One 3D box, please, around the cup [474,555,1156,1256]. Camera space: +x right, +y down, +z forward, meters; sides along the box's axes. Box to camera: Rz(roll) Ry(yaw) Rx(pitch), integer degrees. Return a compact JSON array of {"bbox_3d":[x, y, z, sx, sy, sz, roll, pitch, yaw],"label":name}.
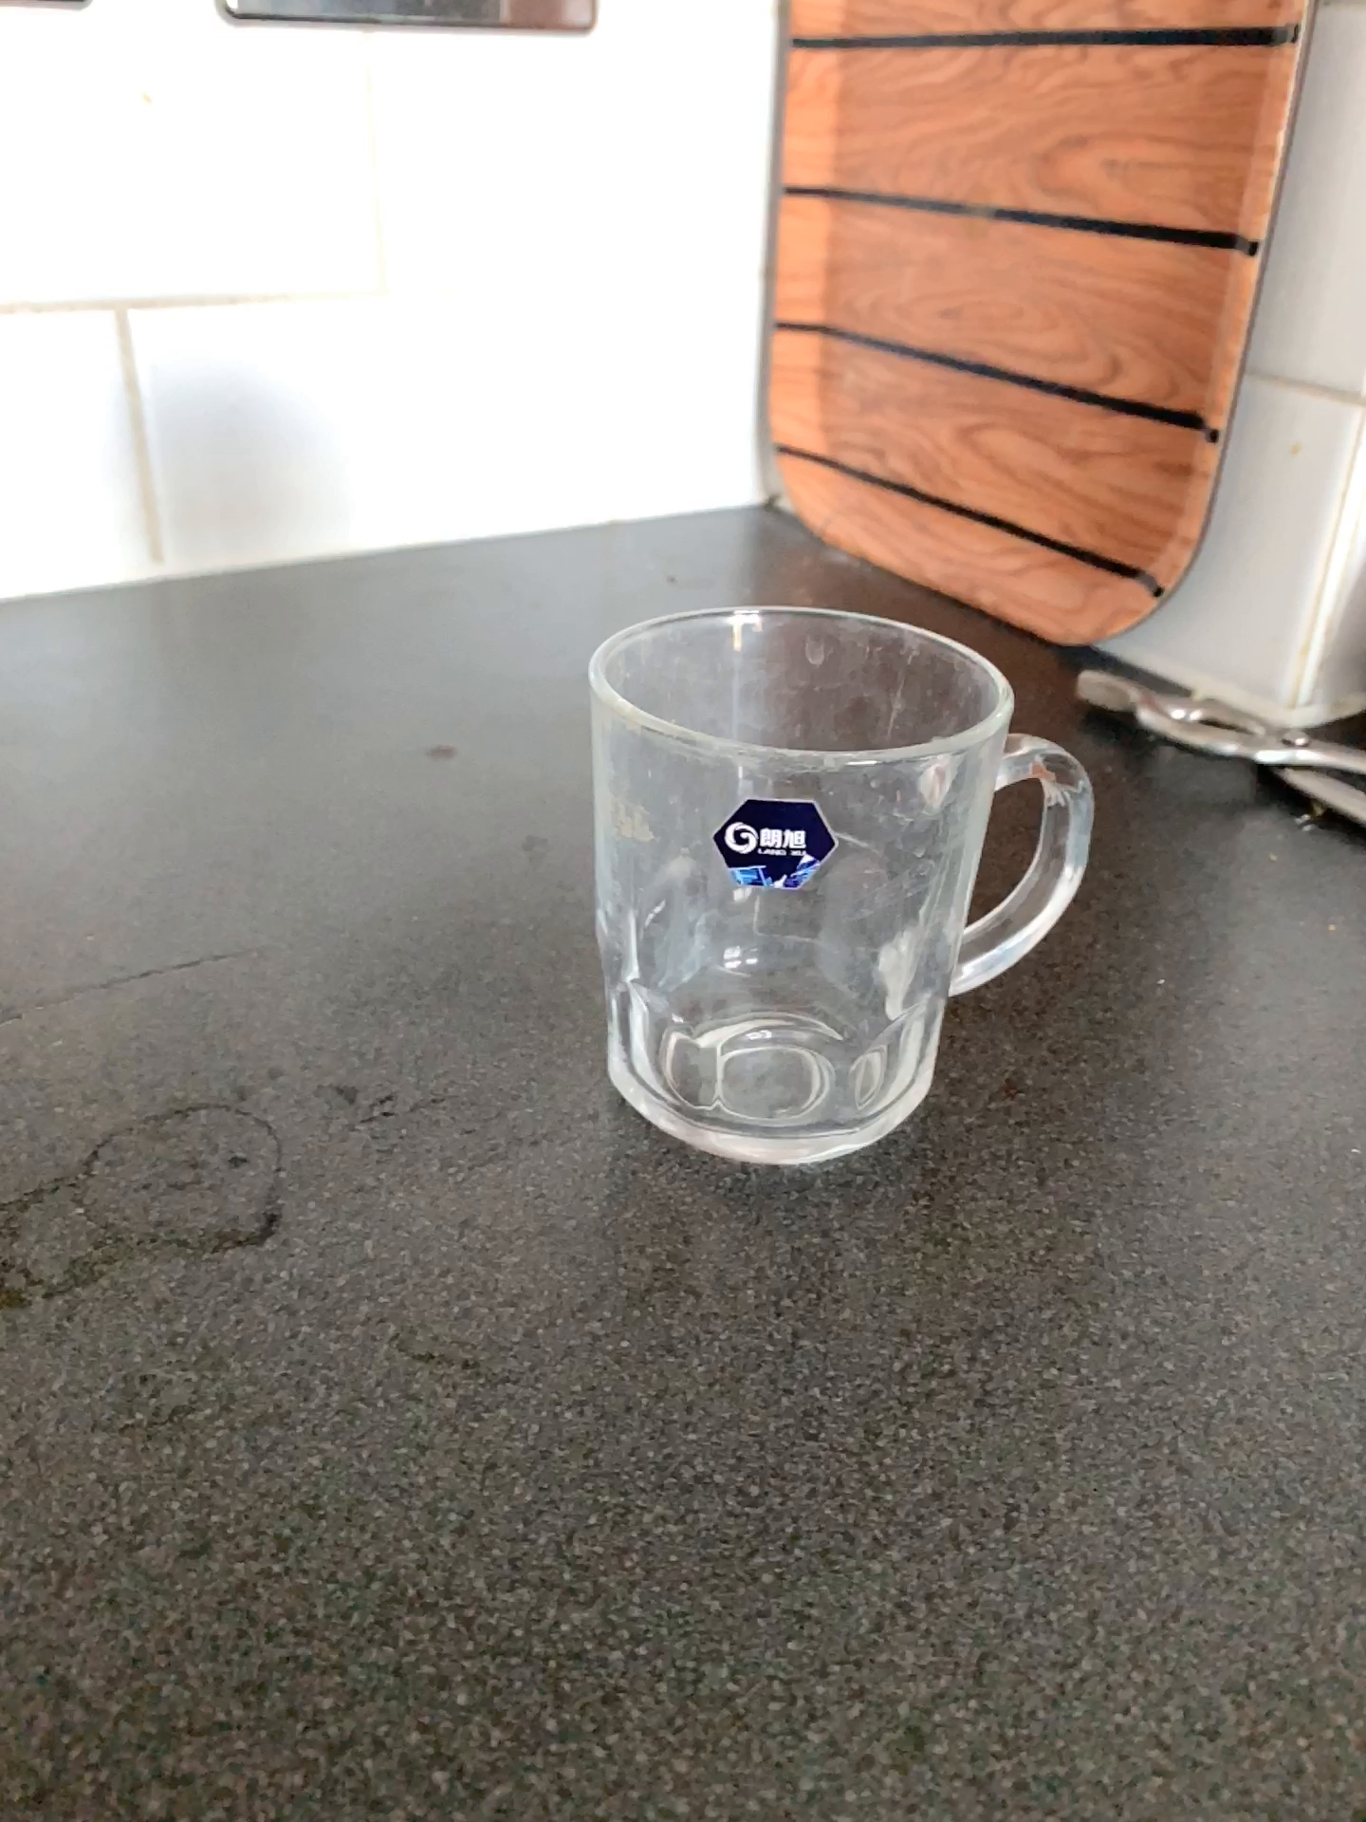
[{"bbox_3d":[0.023,-0.008,0.276,0.100,0.090,0.071,-20,36,-33],"label":"cup"}]
